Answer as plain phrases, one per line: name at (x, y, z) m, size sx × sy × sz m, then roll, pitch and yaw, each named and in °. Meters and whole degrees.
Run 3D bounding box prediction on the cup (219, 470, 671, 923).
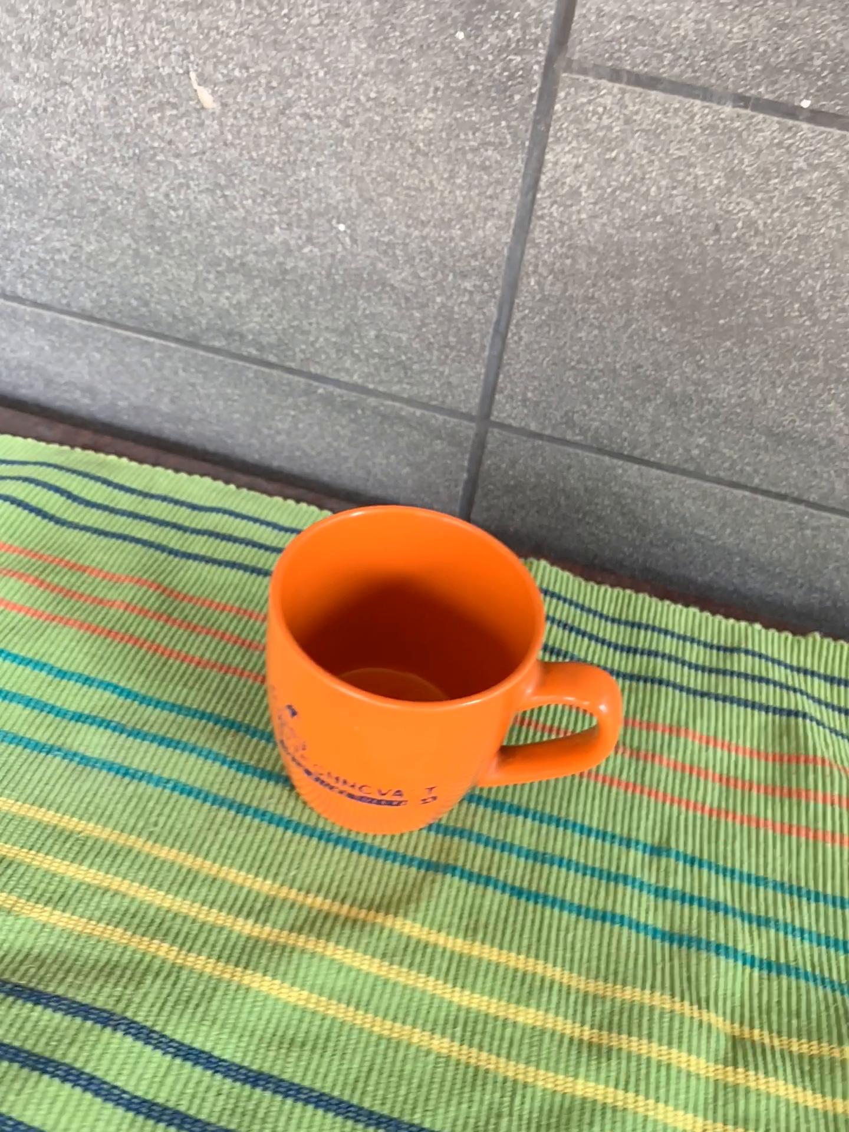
cup at (0.008, 0.040, 0.292) m, size 0.120 × 0.080 × 0.090 m, roll 15°, pitch 42°, yaw 6°
